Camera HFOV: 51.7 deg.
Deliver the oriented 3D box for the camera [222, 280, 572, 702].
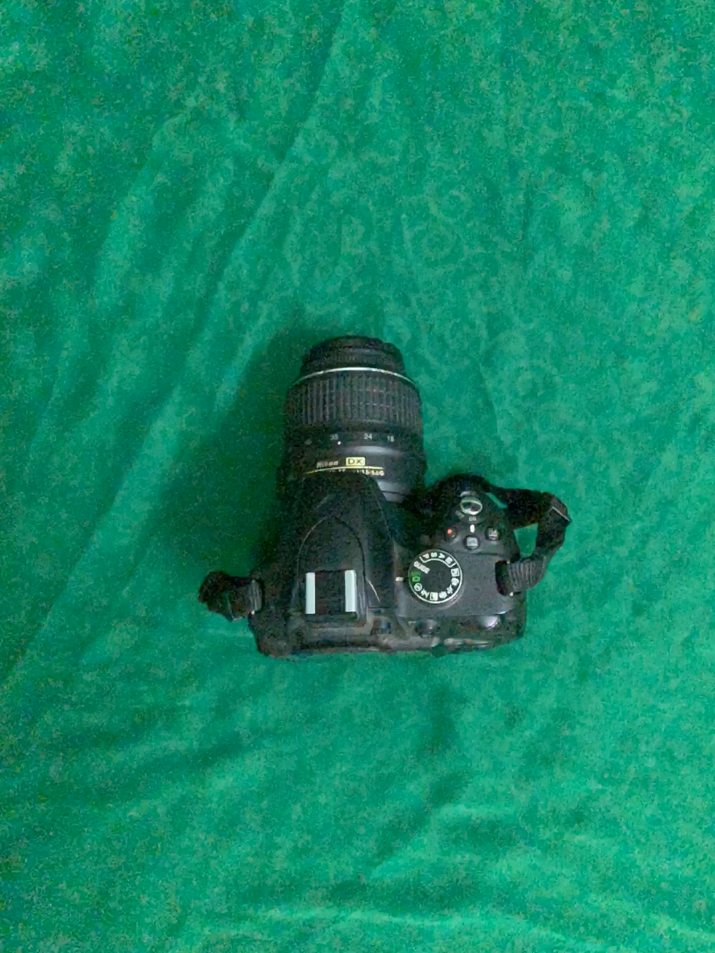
[{"bbox_3d":[0.016,0.014,0.352,0.133,0.100,0.166,-5,77,7],"label":"camera"}]
